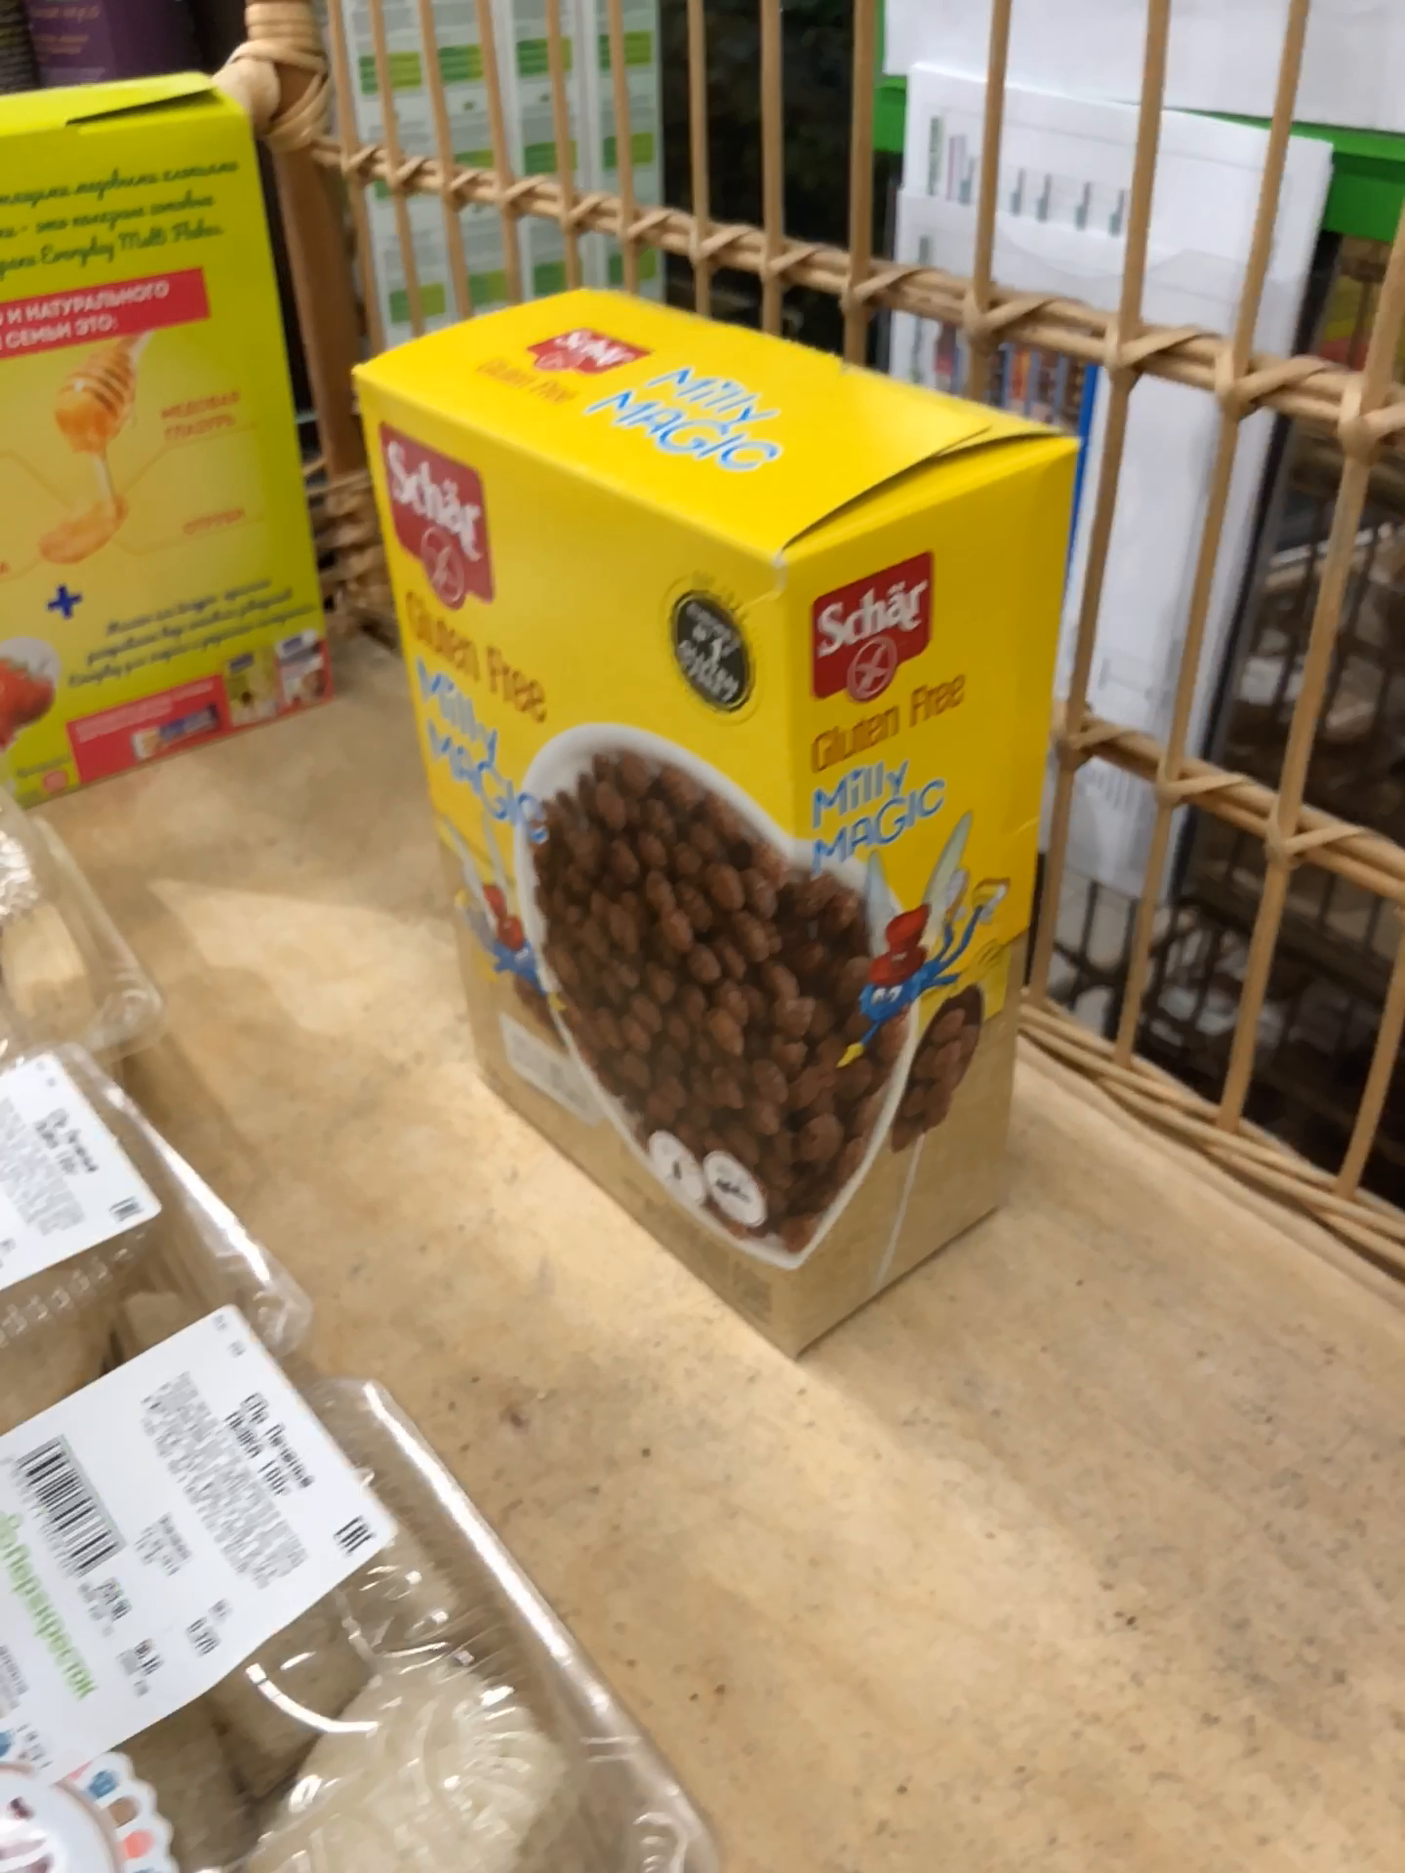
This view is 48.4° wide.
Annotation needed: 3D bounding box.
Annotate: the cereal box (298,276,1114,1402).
[{"bbox_3d":[-0.002,-0.026,0.375,0.080,0.209,0.161,-28,43,-28],"label":"cereal box"}]
